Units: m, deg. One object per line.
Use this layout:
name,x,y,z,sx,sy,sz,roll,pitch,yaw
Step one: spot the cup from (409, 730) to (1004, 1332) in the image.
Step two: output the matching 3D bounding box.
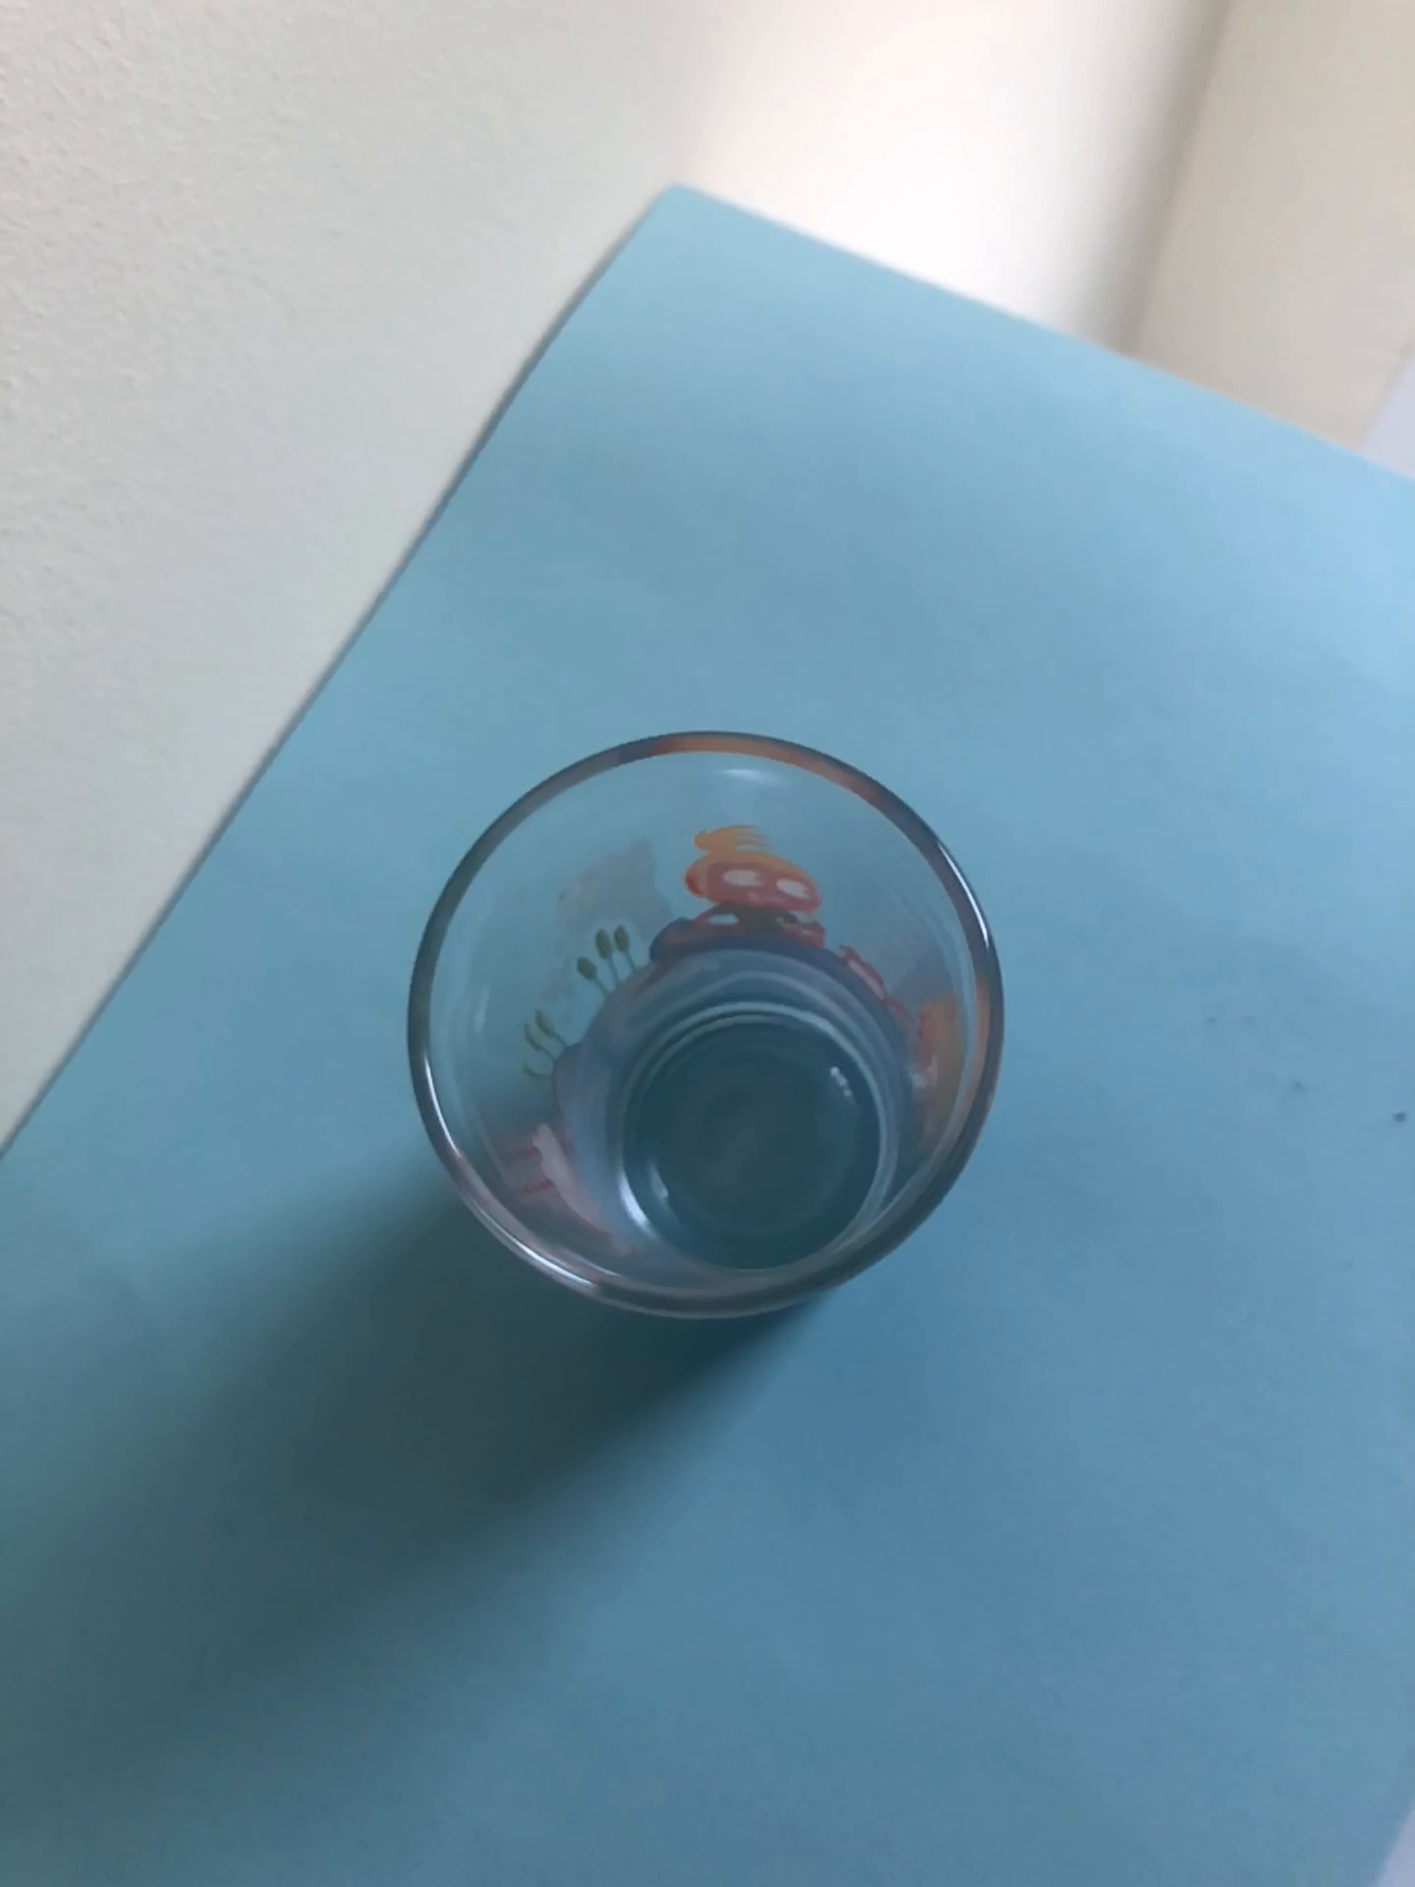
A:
cup,0.005,0.019,0.216,0.060,0.100,0.060,-1,75,4
